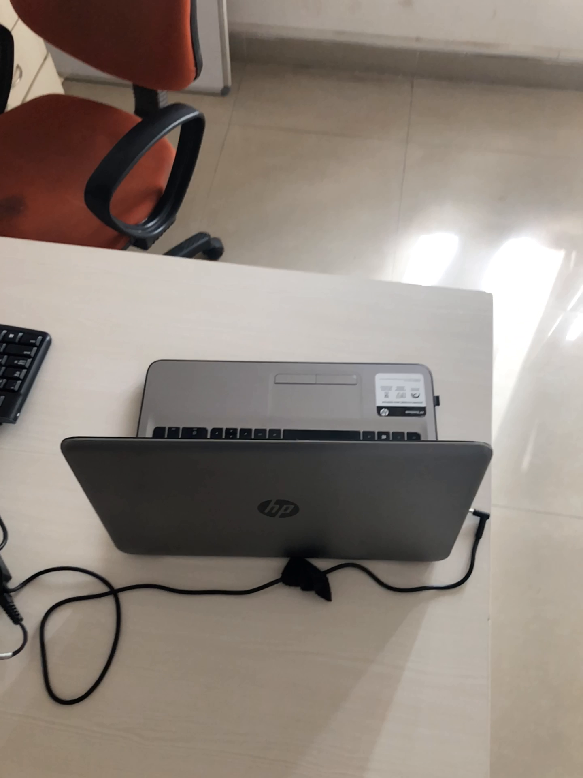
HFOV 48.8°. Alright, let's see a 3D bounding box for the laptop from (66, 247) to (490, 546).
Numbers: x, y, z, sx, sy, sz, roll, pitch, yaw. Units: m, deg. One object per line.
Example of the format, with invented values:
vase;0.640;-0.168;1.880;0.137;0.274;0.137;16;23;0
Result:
laptop;-0.009;0.019;0.672;0.350;0.227;0.216;2;65;3
